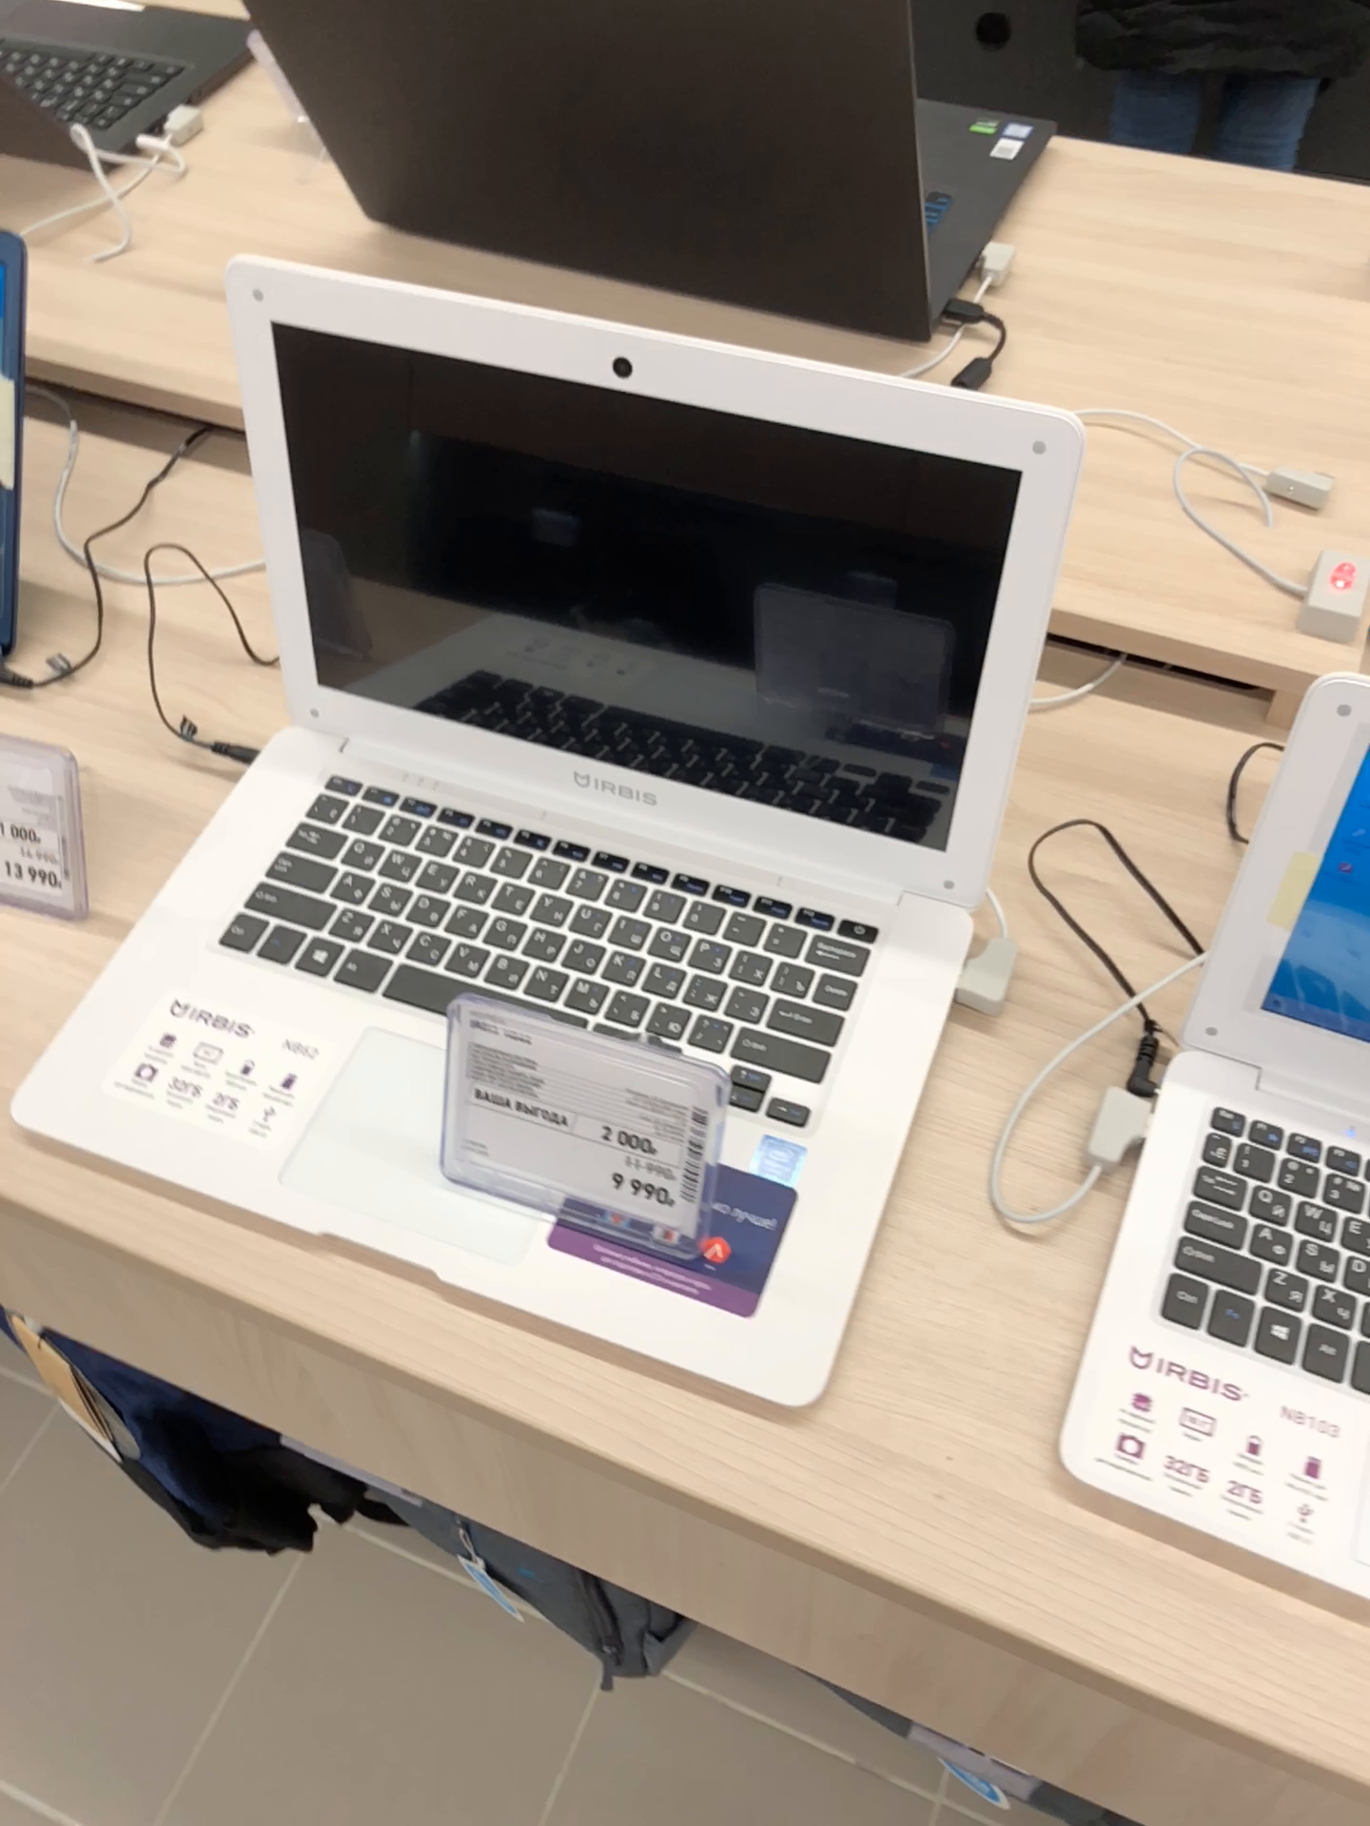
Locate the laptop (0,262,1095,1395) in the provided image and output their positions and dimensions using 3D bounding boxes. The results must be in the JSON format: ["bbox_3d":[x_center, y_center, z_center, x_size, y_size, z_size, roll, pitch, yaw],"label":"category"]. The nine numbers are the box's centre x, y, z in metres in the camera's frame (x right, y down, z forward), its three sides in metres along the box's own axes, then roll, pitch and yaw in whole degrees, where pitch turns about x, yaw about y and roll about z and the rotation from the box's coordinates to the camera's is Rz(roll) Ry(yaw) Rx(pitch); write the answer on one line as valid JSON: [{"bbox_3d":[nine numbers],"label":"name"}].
[{"bbox_3d":[-0.061,-0.044,0.565,0.334,0.207,0.280,16,55,14],"label":"laptop"}]

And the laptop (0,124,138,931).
[{"bbox_3d":[-0.505,-0.203,0.730,0.298,0.158,0.312,18,56,15],"label":"laptop"}]

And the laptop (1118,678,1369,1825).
[{"bbox_3d":[0.302,0.093,0.469,0.259,0.167,0.221,17,55,17],"label":"laptop"}]
